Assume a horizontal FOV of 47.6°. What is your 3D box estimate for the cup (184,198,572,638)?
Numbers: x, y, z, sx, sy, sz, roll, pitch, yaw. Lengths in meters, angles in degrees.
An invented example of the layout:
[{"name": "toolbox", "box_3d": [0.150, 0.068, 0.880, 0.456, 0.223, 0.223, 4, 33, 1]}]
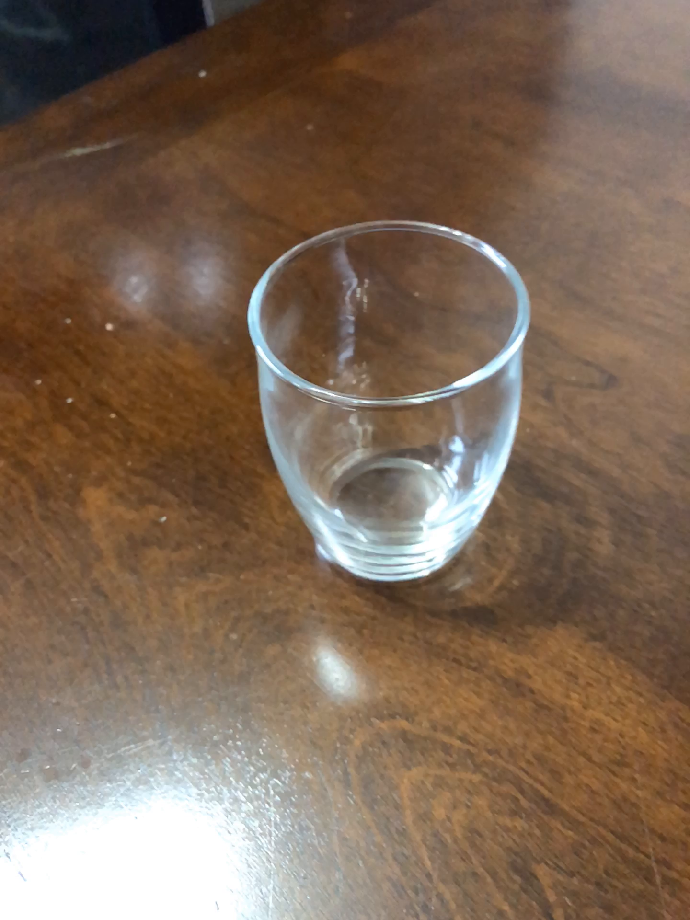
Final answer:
[{"name": "cup", "box_3d": [0.011, -0.010, 0.187, 0.060, 0.070, 0.060, -2, 51, 3]}]
